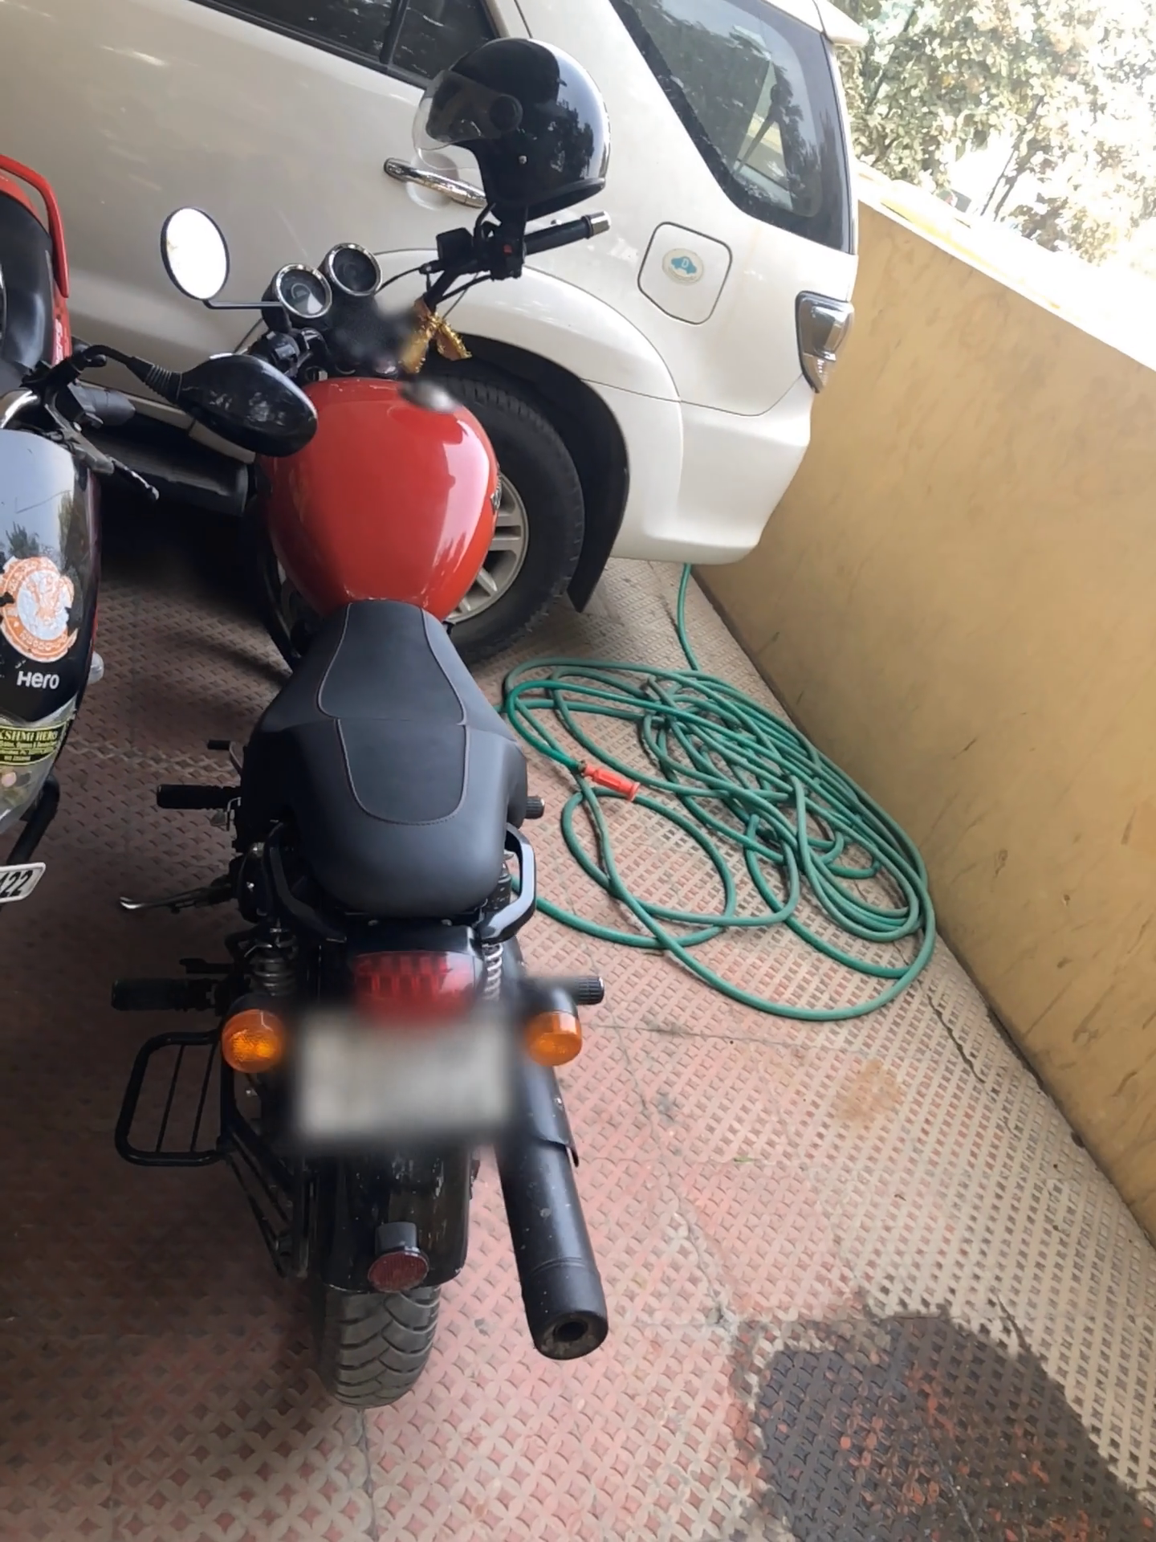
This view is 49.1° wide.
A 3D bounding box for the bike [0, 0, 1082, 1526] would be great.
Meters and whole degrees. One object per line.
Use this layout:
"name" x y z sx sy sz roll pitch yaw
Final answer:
"bike" -0.426 -0.154 1.804 0.821 1.271 1.720 12 31 -24
